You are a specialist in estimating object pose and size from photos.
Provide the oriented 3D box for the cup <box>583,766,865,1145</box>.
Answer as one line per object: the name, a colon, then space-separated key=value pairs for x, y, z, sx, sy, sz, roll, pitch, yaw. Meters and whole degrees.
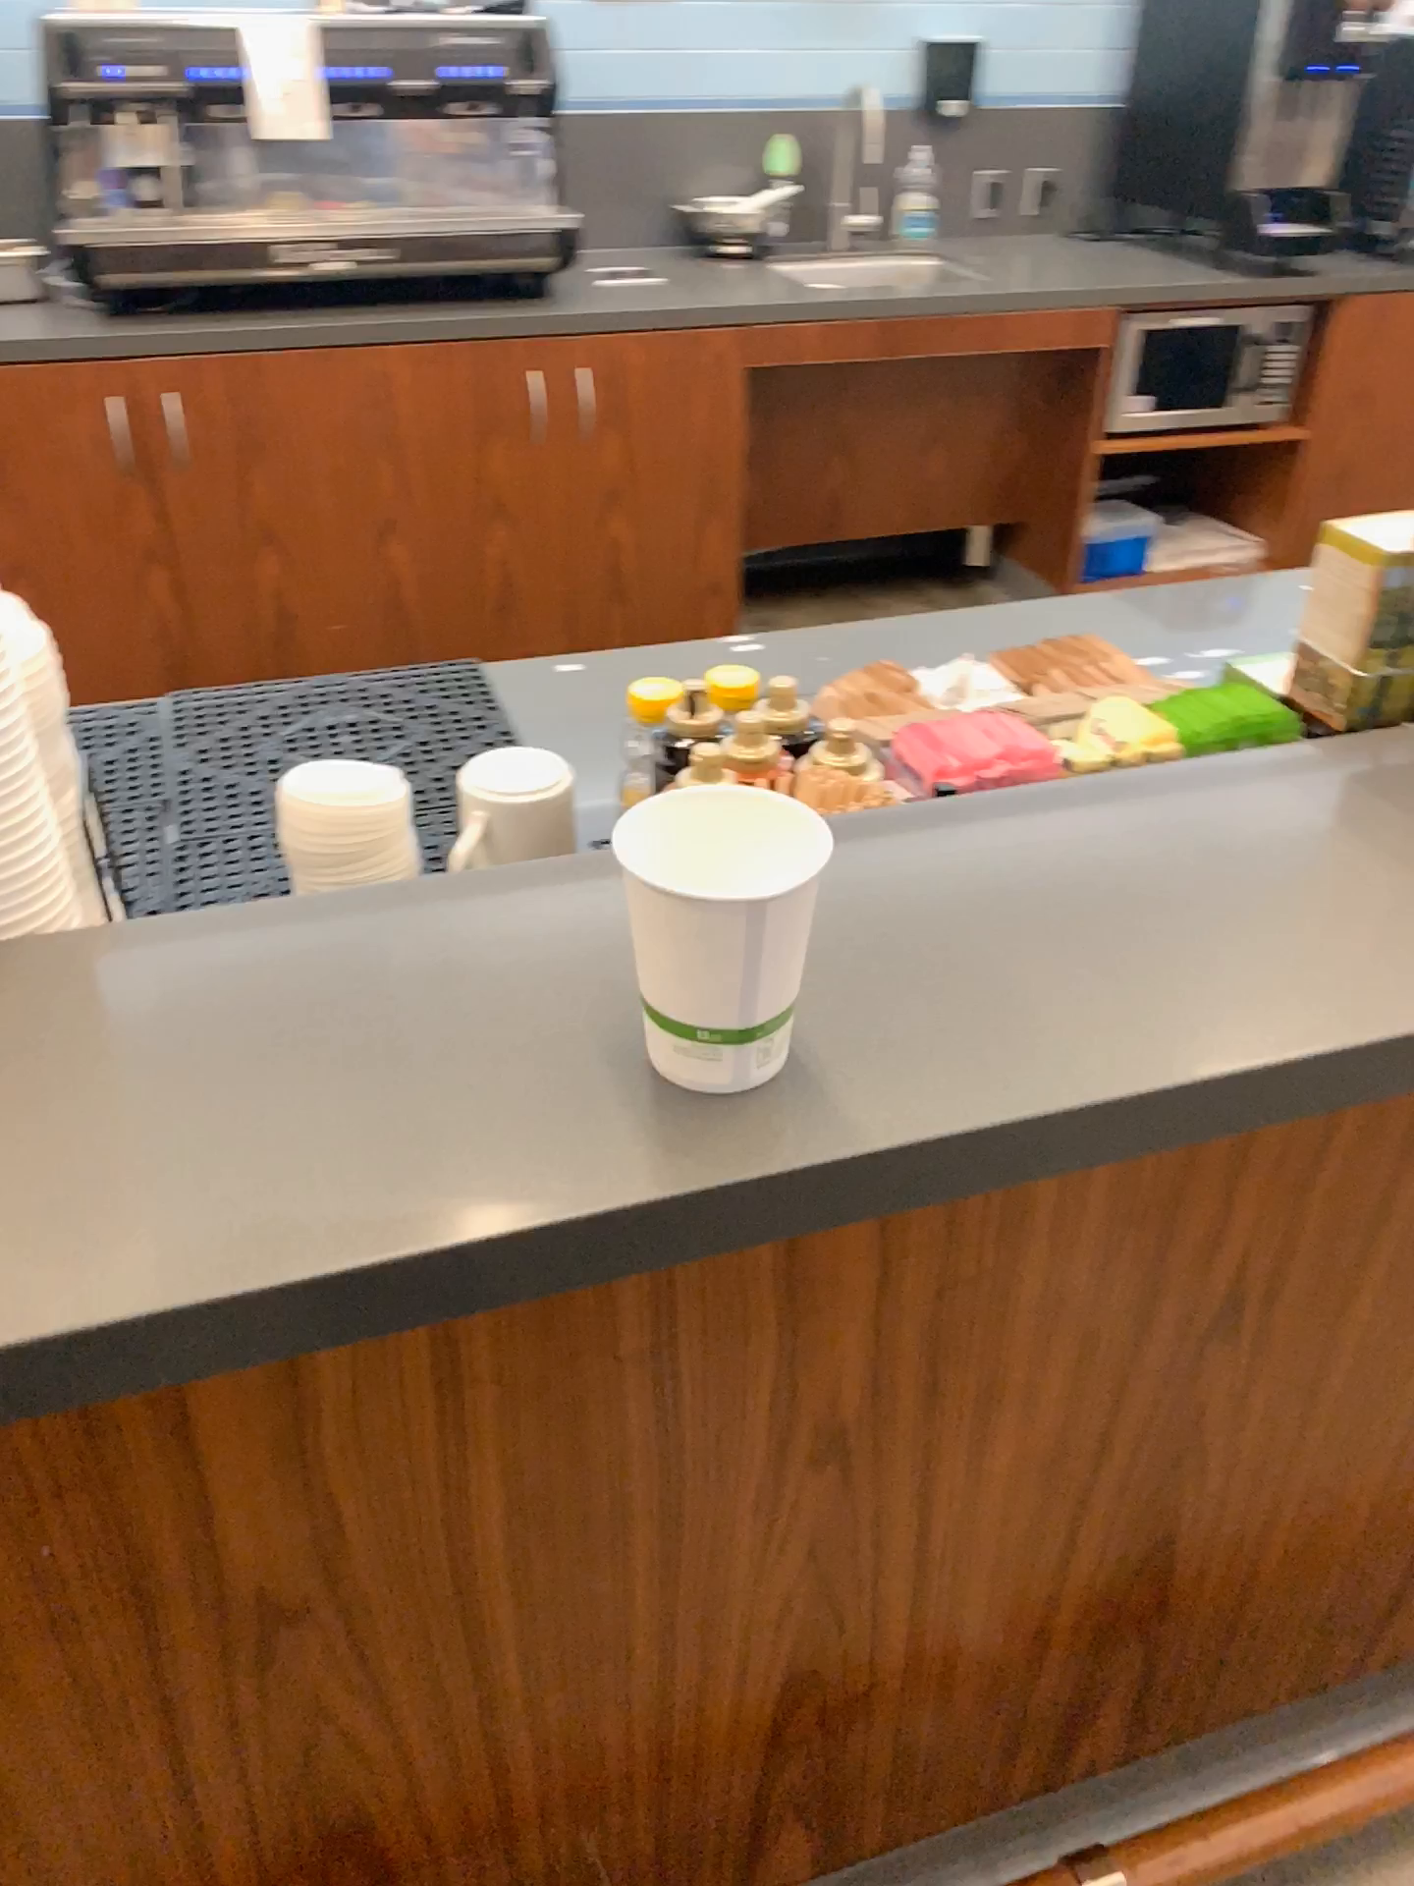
cup: x=0.009 y=0.003 z=0.607 sx=0.090 sy=0.109 sz=0.101 roll=9 pitch=35 yaw=13
